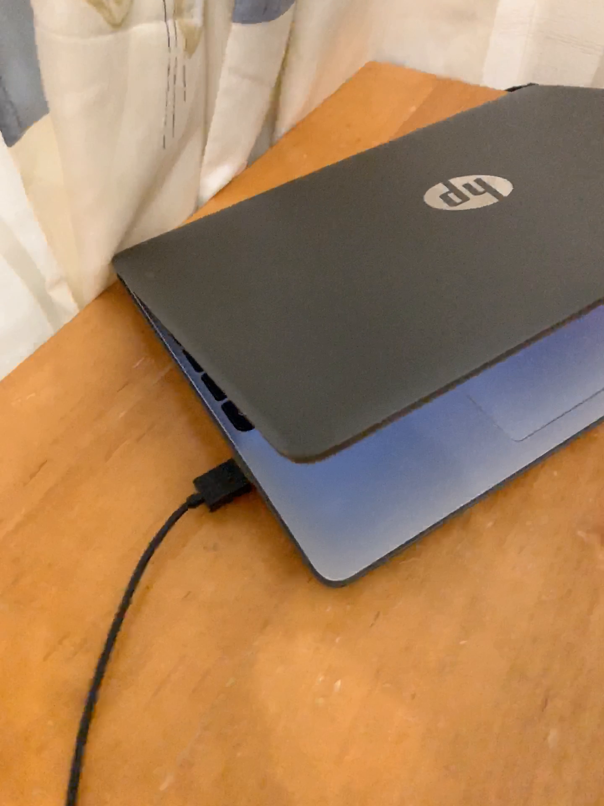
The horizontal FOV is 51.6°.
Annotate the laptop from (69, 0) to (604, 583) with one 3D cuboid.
[{"bbox_3d":[0.070,-0.084,0.271,0.268,0.066,0.191,-28,56,-17],"label":"laptop"}]
